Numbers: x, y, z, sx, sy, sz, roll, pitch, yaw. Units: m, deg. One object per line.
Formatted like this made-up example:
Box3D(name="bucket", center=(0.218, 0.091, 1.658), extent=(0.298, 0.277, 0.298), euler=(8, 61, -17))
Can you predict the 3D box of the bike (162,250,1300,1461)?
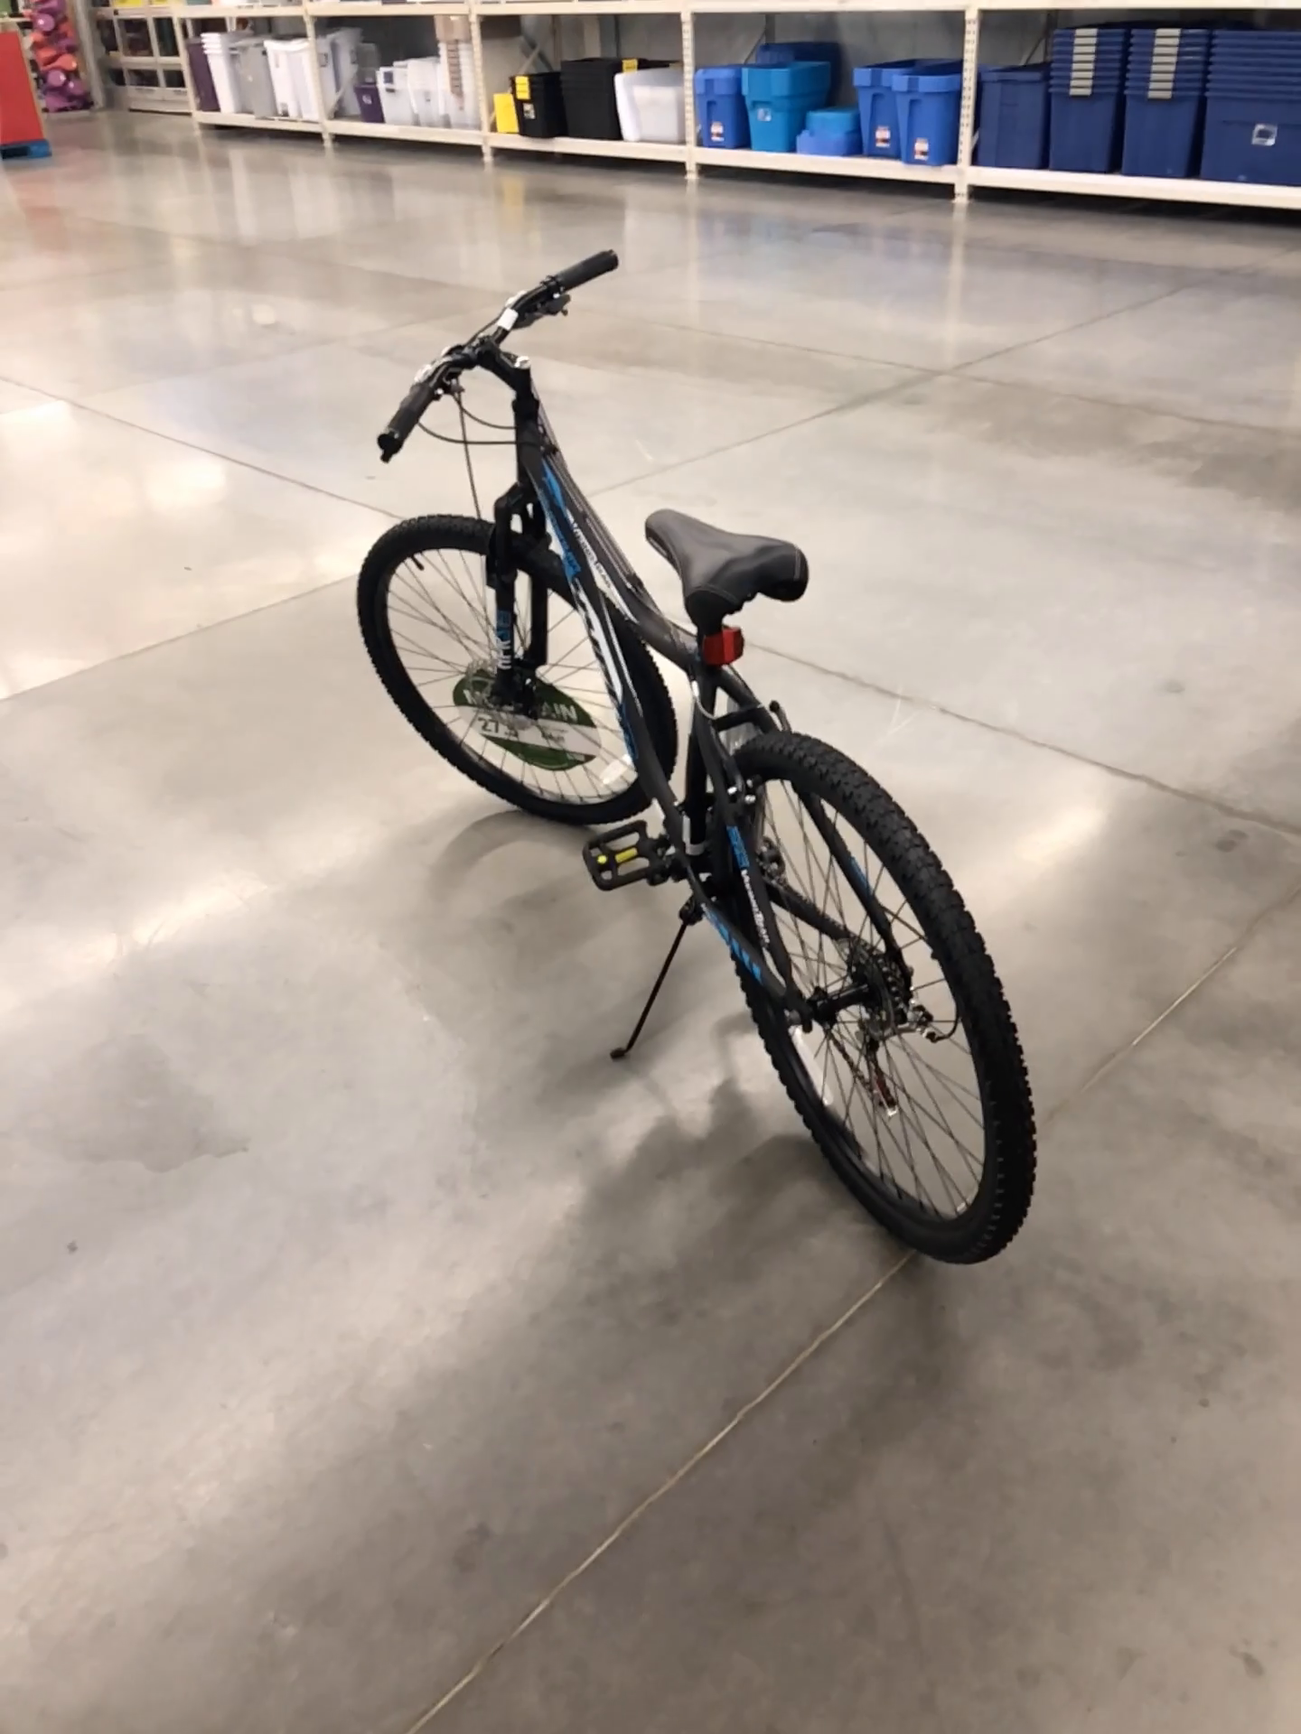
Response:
Box3D(name="bike", center=(-0.060, -0.214, 1.965), extent=(0.572, 0.986, 1.642), euler=(-20, 35, -25))
